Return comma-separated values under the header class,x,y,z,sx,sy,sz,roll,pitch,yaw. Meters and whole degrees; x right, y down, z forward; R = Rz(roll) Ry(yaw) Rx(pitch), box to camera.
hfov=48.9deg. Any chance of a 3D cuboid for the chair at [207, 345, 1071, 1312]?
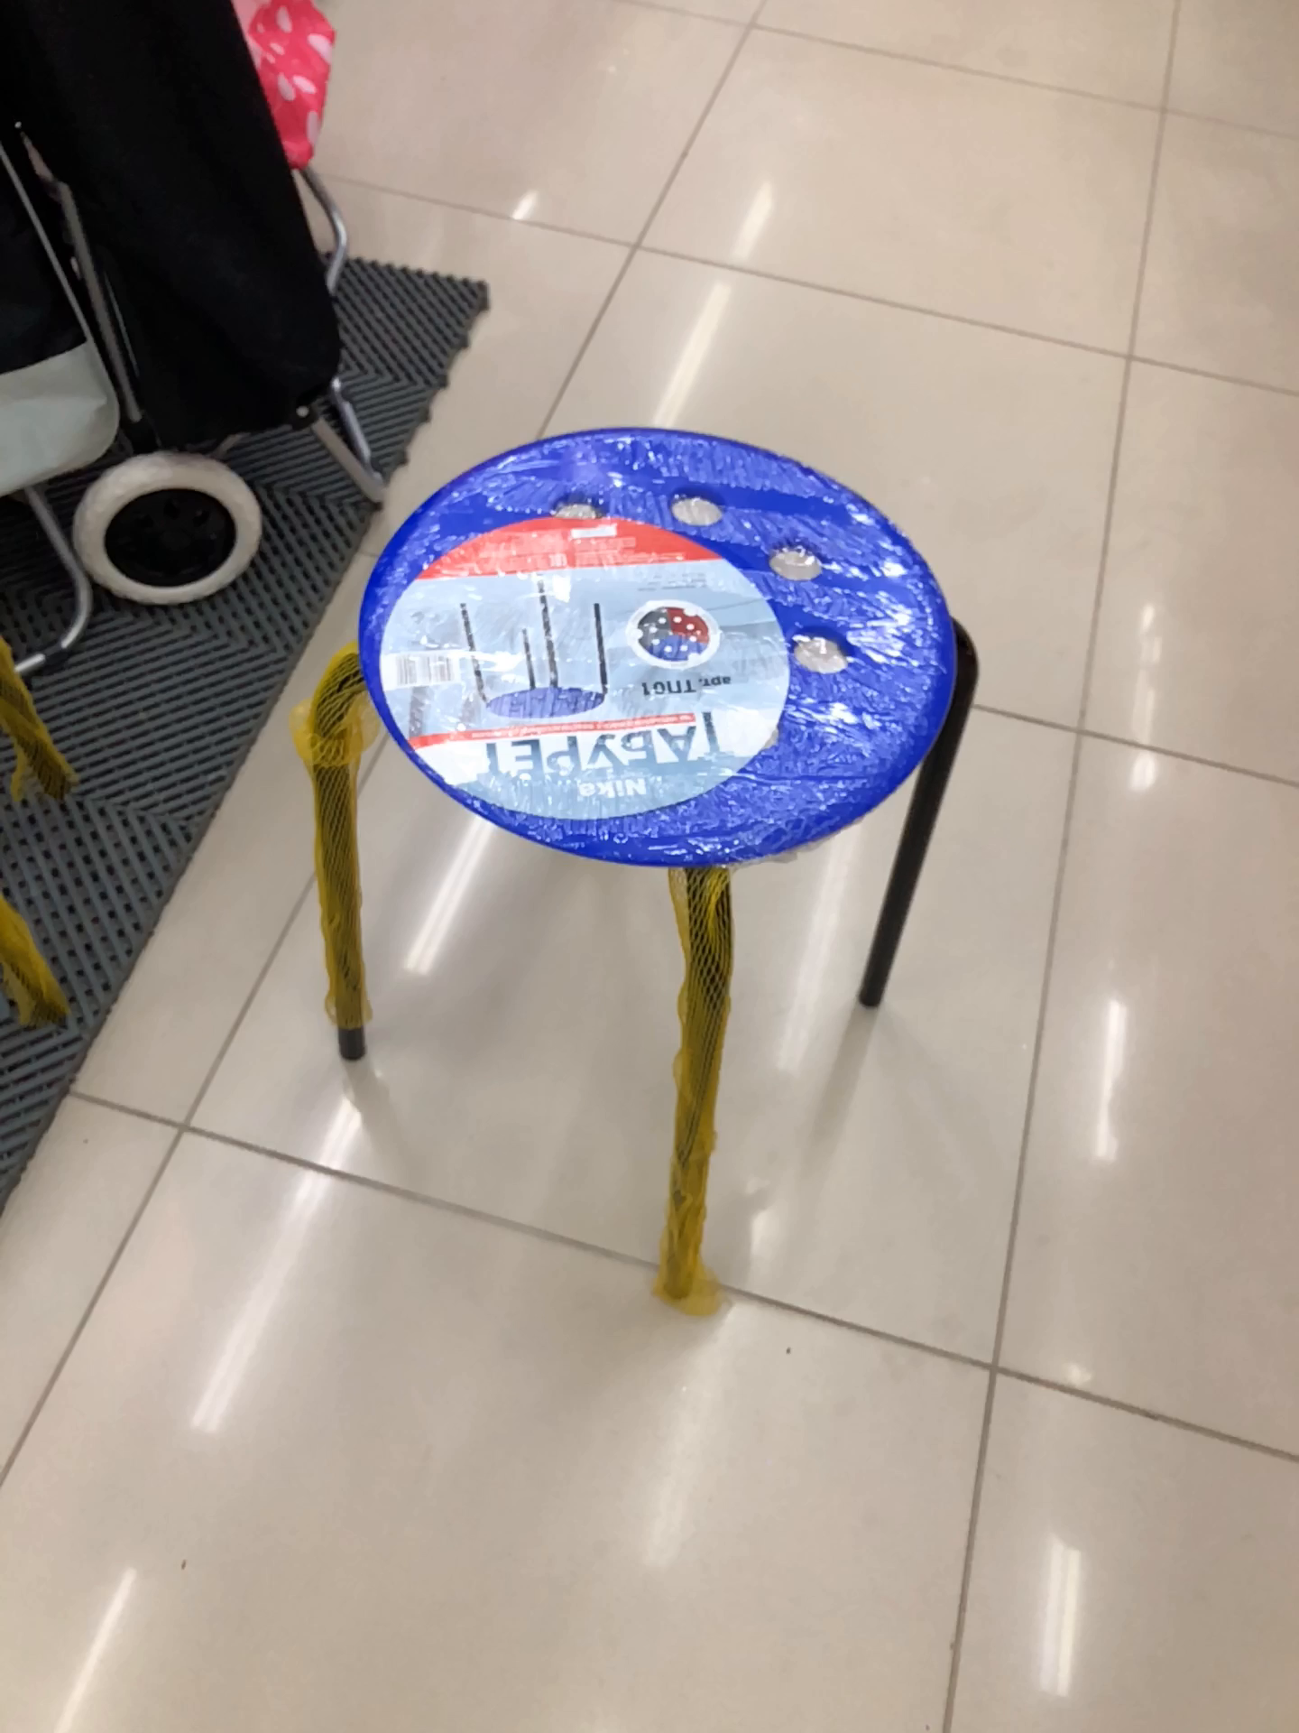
class,x,y,z,sx,sy,sz,roll,pitch,yaw
chair,-0.009,-0.010,0.913,0.324,0.426,0.322,31,58,17
